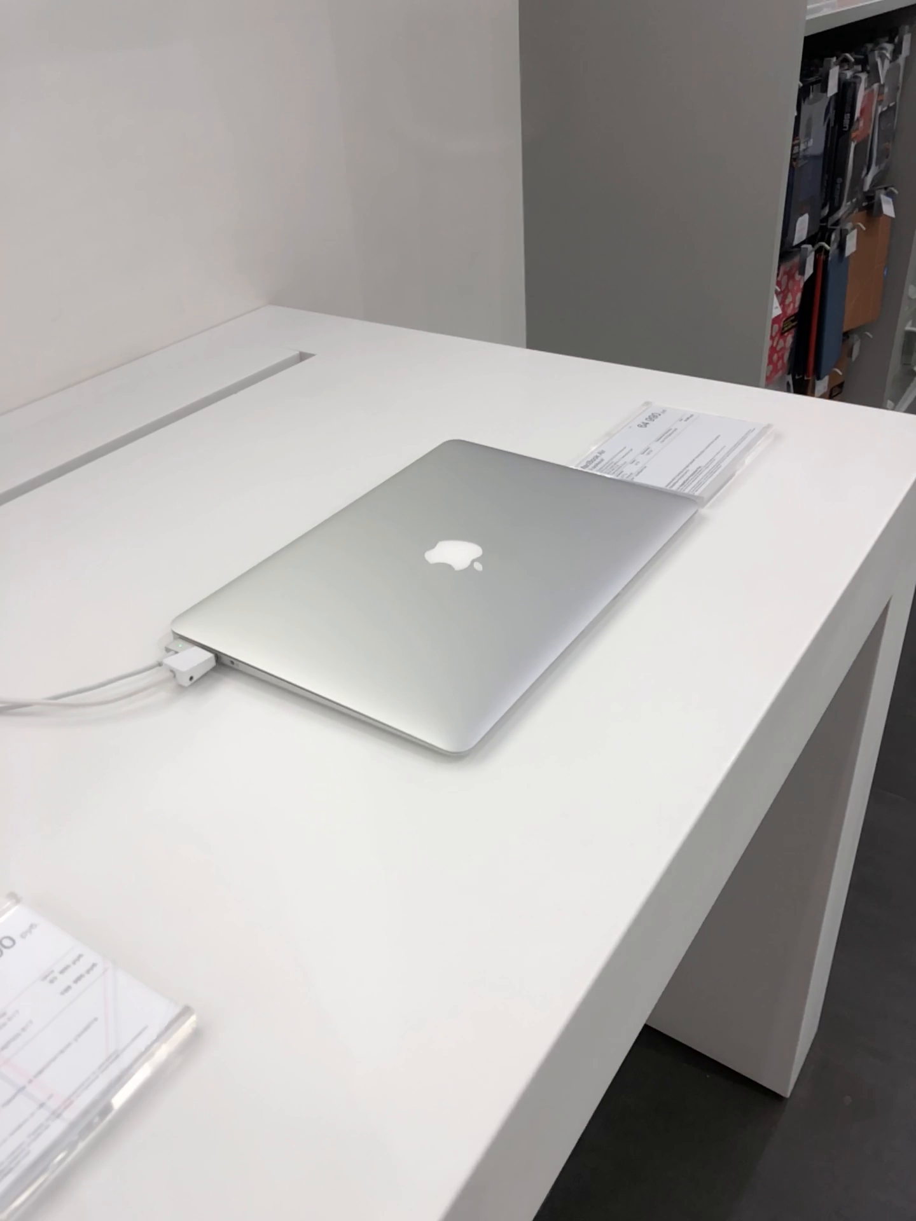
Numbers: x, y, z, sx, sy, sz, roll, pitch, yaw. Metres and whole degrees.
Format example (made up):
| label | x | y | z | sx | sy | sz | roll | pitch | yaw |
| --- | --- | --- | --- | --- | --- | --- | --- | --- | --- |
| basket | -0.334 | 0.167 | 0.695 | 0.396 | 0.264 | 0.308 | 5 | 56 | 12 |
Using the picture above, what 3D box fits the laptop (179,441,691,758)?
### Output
| label | x | y | z | sx | sy | sz | roll | pitch | yaw |
| --- | --- | --- | --- | --- | --- | --- | --- | --- | --- |
| laptop | -0.002 | -0.031 | 0.683 | 0.210 | 0.008 | 0.308 | 20 | 40 | 28 |
